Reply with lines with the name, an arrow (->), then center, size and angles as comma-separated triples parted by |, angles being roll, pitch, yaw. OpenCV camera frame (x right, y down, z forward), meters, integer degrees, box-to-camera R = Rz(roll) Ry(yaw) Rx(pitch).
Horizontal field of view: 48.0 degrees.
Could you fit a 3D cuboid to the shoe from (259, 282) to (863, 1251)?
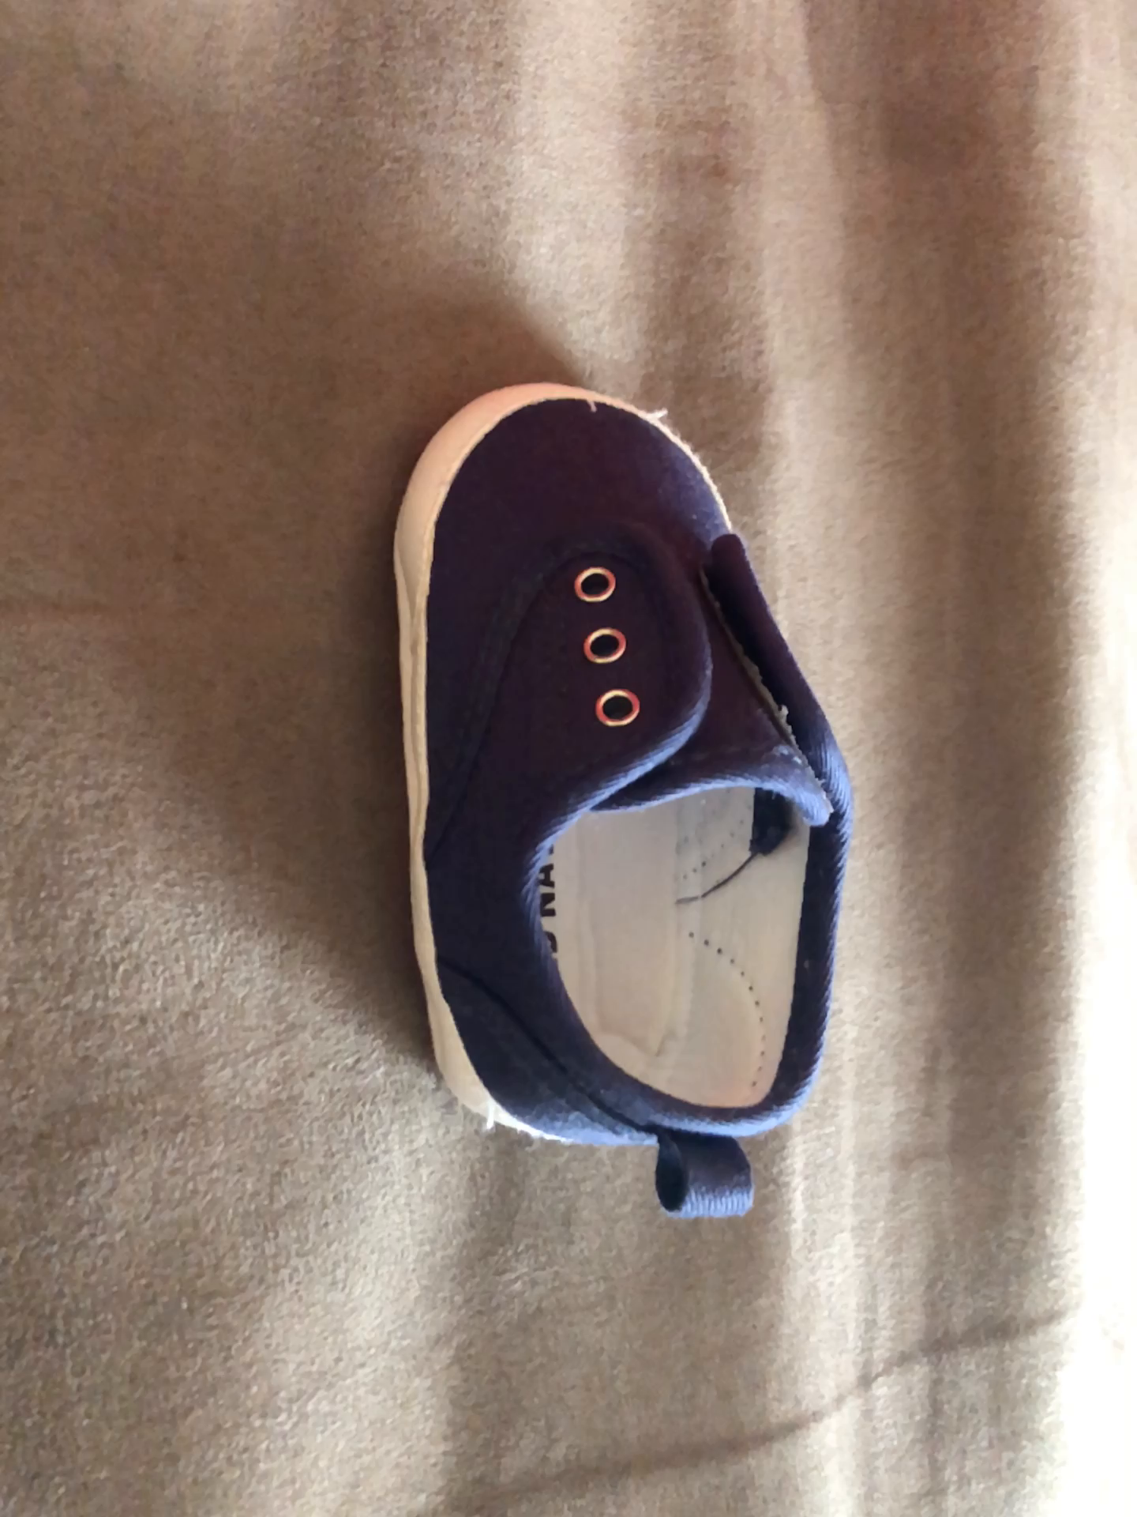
shoe -> -0.004, 0.002, 0.186 | 0.060, 0.060, 0.110 | 4, 90, -29
